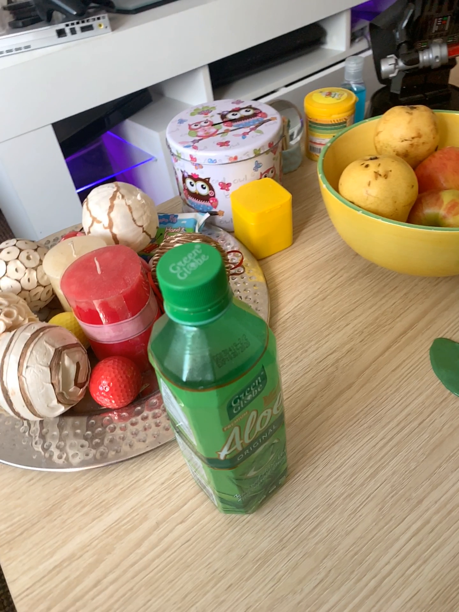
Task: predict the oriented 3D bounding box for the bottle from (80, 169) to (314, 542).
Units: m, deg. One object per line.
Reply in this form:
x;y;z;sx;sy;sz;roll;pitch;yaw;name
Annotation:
-0.002;0.045;0.272;0.070;0.218;0.070;-5;45;5;bottle
